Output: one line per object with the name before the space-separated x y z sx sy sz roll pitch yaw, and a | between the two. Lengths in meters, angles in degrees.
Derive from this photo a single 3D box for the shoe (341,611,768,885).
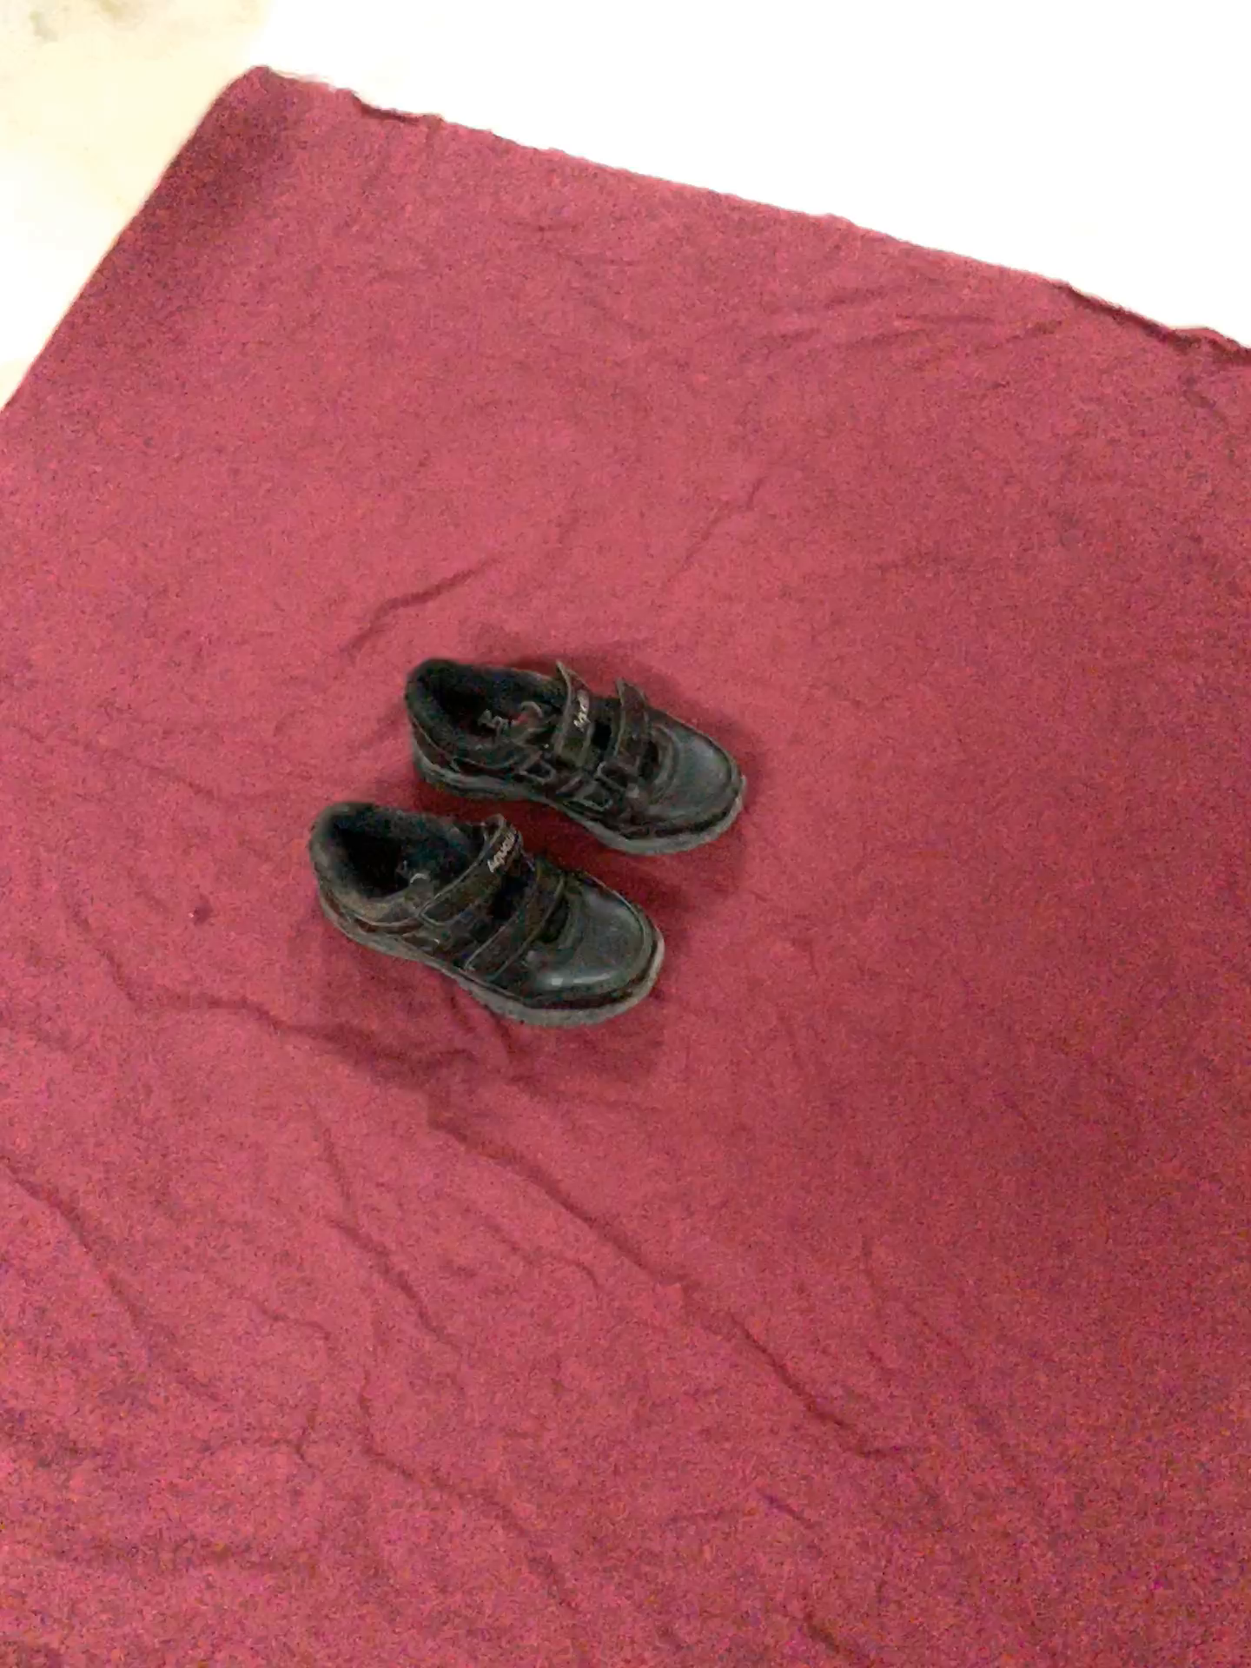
shoe | -0.037 -0.046 0.696 0.210 0.070 0.070 17 70 7

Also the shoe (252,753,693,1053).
shoe | -0.077 0.037 0.672 0.210 0.070 0.070 20 70 9
